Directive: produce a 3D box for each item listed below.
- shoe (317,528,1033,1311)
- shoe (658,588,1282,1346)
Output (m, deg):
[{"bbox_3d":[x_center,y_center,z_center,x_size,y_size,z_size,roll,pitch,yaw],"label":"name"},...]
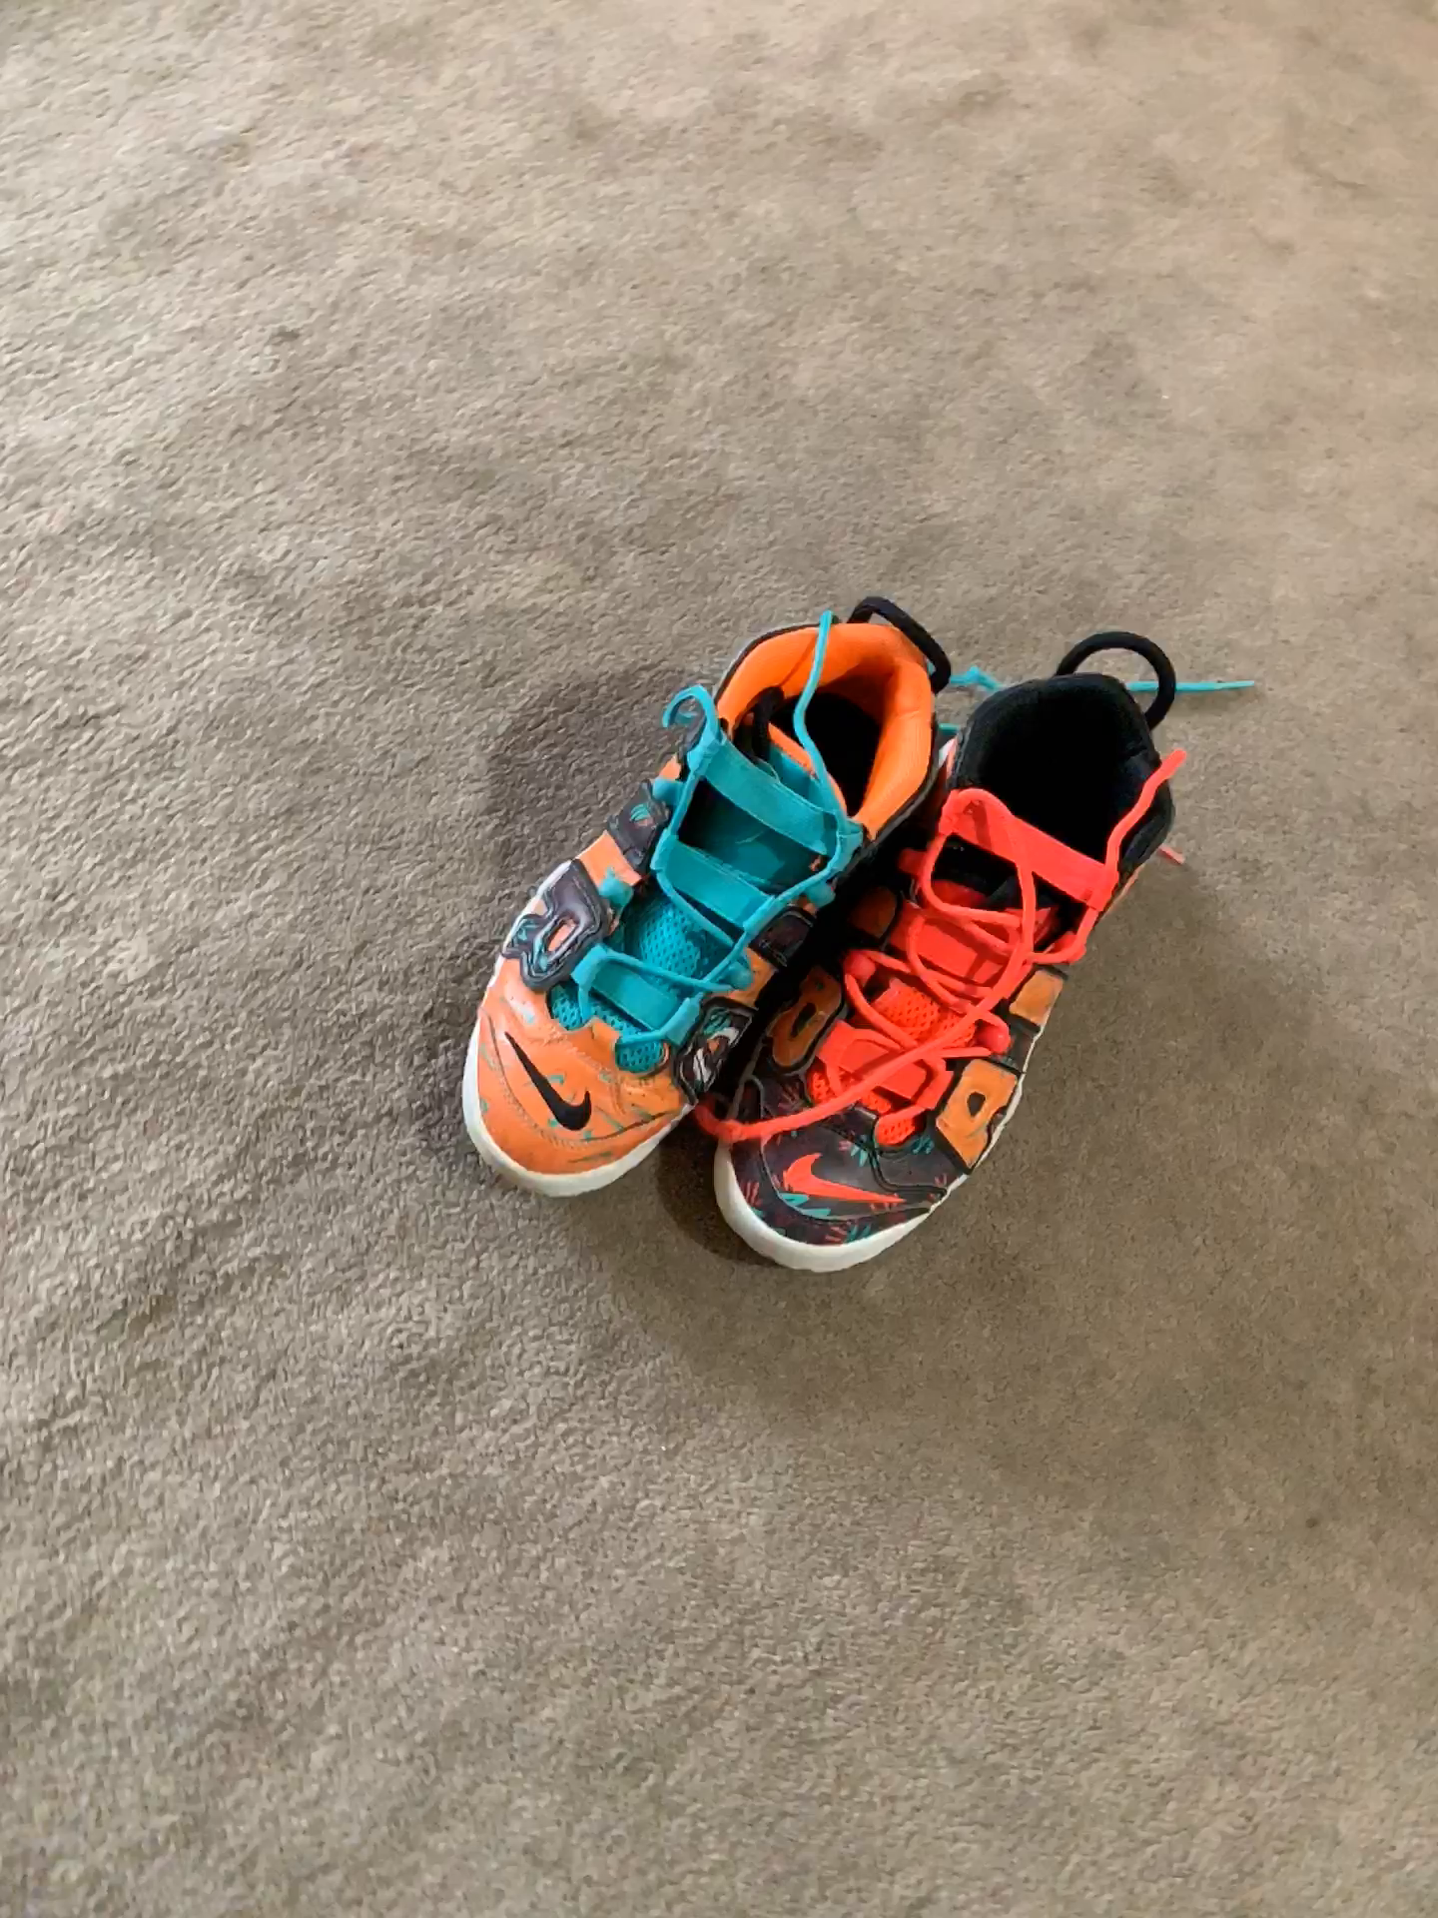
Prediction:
[{"bbox_3d":[-0.011,-0.011,0.519,0.100,0.090,0.251,37,78,5],"label":"shoe"},{"bbox_3d":[0.084,0.008,0.523,0.100,0.110,0.231,31,77,7],"label":"shoe"}]
